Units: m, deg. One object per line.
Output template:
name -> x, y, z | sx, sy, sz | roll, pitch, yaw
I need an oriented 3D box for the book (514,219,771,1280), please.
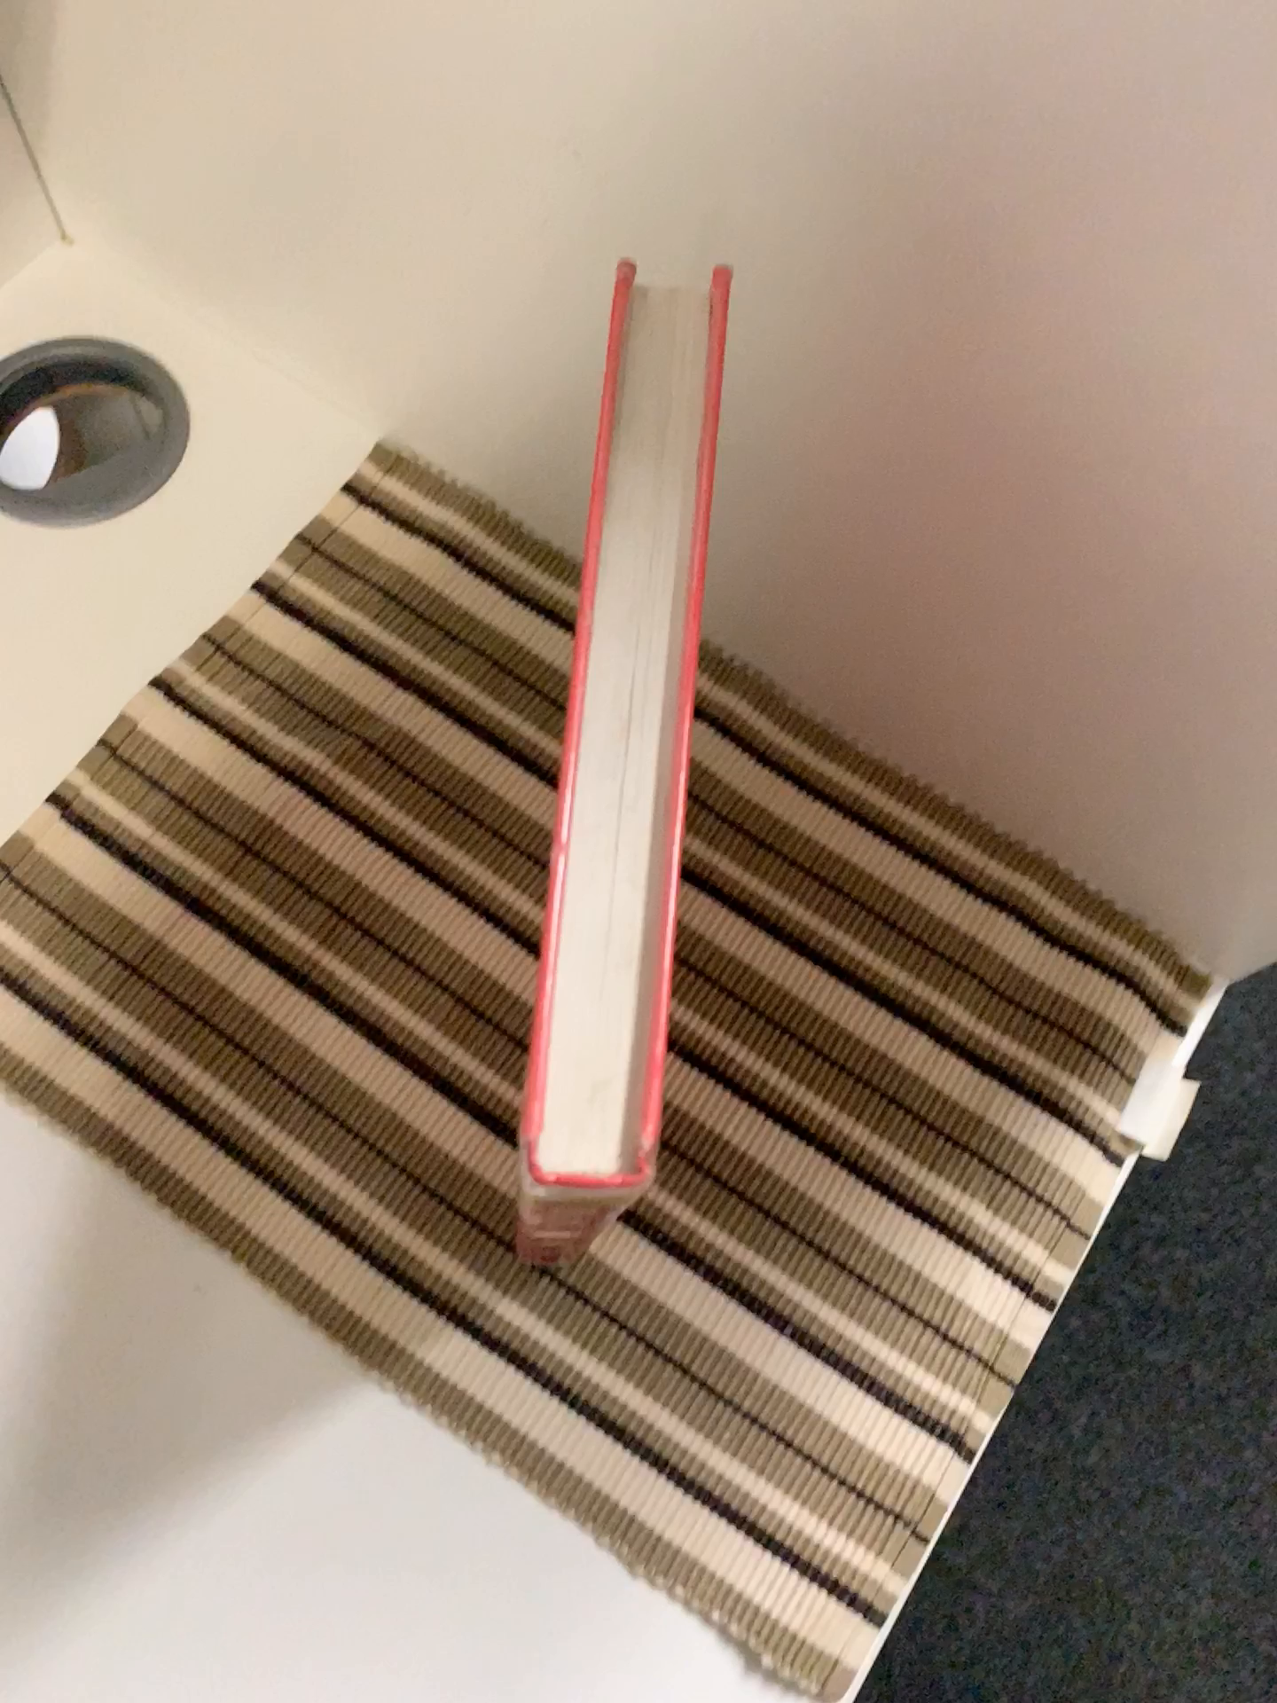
book -> -0.007, 0.006, 0.357 | 0.030, 0.252, 0.201 | 7, 69, -3
